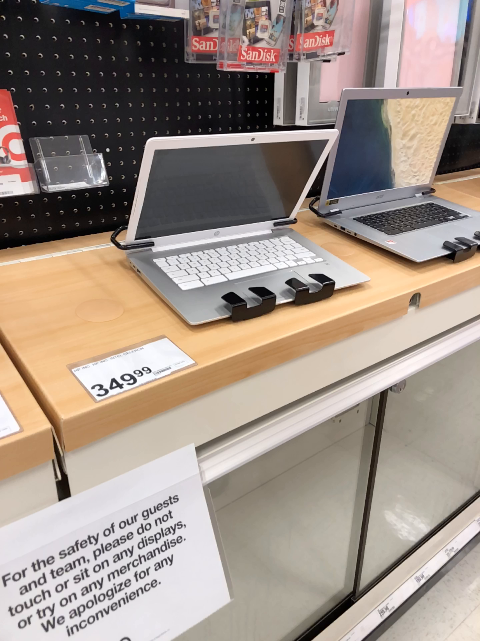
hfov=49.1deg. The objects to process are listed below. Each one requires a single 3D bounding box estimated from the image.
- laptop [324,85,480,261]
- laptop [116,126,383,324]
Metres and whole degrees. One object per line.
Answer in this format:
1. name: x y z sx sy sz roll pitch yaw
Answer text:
1. laptop: 0.367 -0.298 1.000 0.321 0.231 0.231 -17 33 -30
2. laptop: 0.018 -0.163 0.784 0.322 0.172 0.201 -15 35 -31
